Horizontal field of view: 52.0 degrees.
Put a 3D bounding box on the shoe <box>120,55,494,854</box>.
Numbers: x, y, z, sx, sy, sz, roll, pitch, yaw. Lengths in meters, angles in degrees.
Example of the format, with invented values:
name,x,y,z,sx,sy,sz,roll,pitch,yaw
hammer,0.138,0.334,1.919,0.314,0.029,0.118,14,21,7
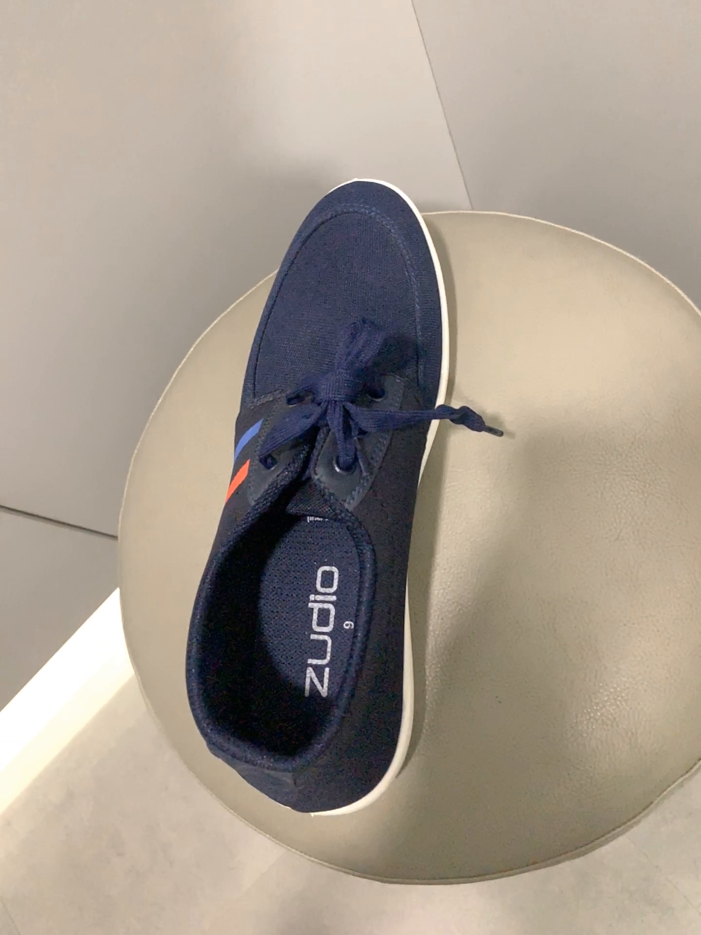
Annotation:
name,x,y,z,sx,sy,sz,roll,pitch,yaw
shoe,-0.003,-0.012,0.314,0.100,0.100,0.290,1,76,20
